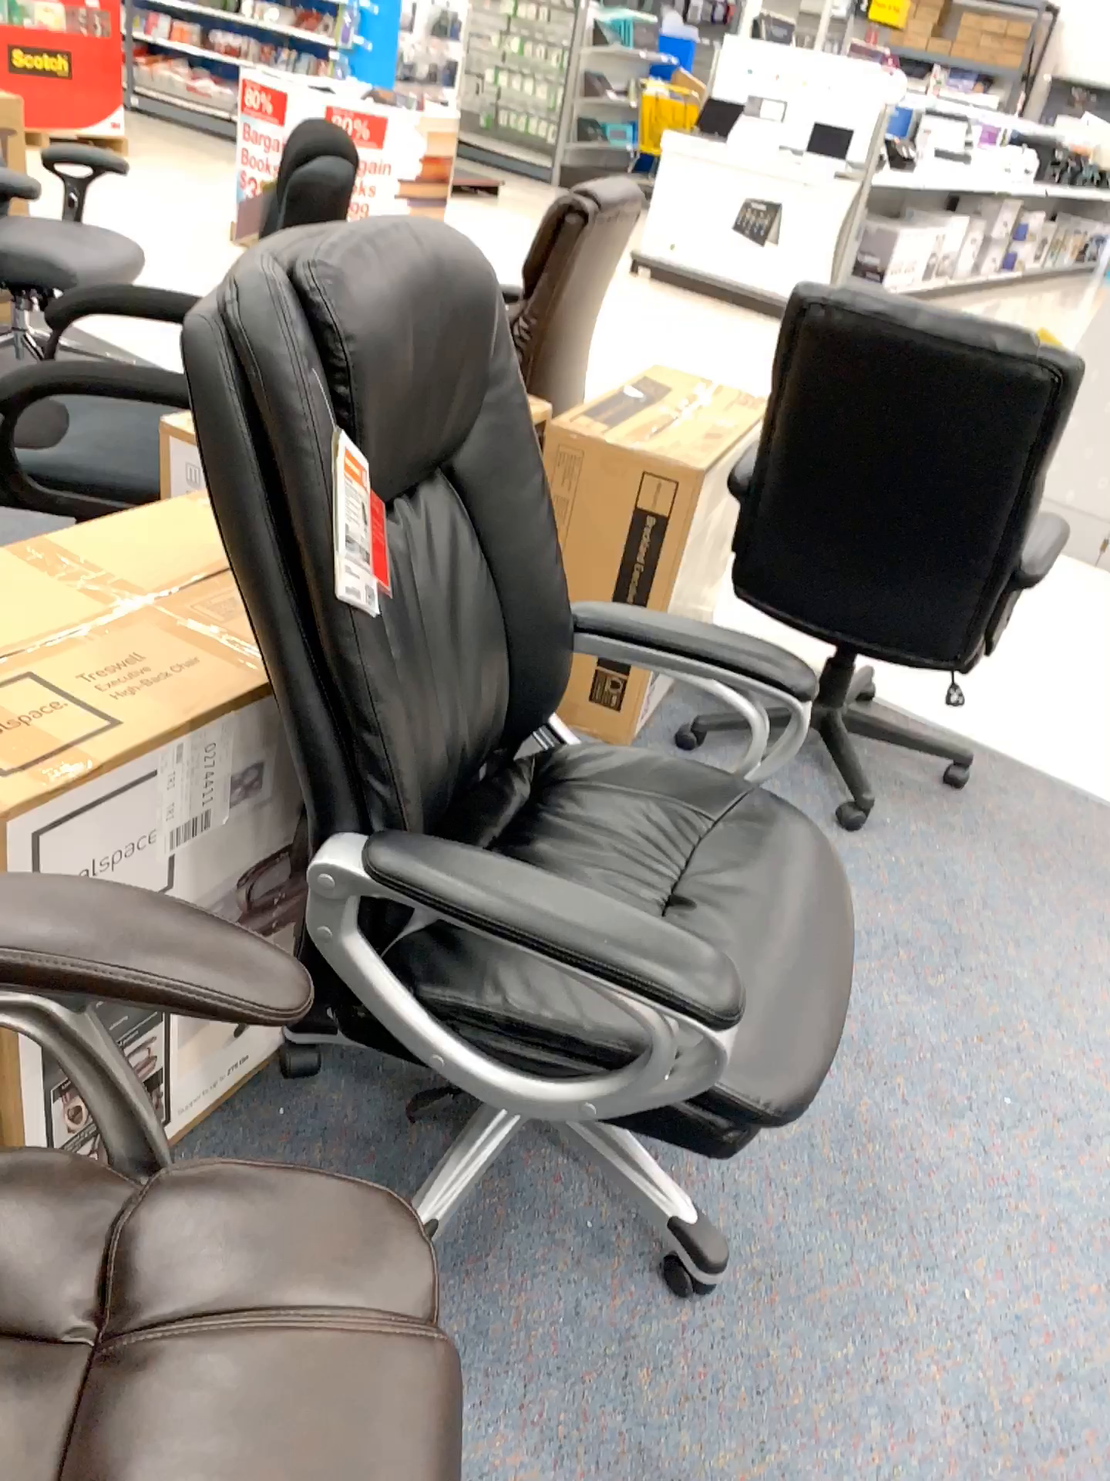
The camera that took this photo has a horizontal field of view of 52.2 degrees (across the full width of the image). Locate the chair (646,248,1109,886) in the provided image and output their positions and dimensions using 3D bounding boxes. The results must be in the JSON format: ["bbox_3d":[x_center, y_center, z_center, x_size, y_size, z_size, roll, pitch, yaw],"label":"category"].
[{"bbox_3d":[0.715,-0.407,2.330,0.664,0.926,0.841,19,32,11],"label":"chair"}]

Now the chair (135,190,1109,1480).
[{"bbox_3d":[0.039,0.067,1.232,0.657,1.056,0.678,18,31,9],"label":"chair"}]

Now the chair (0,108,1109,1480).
[{"bbox_3d":[-0.423,0.382,0.542,0.787,1.046,0.758,12,31,-1],"label":"chair"}]
